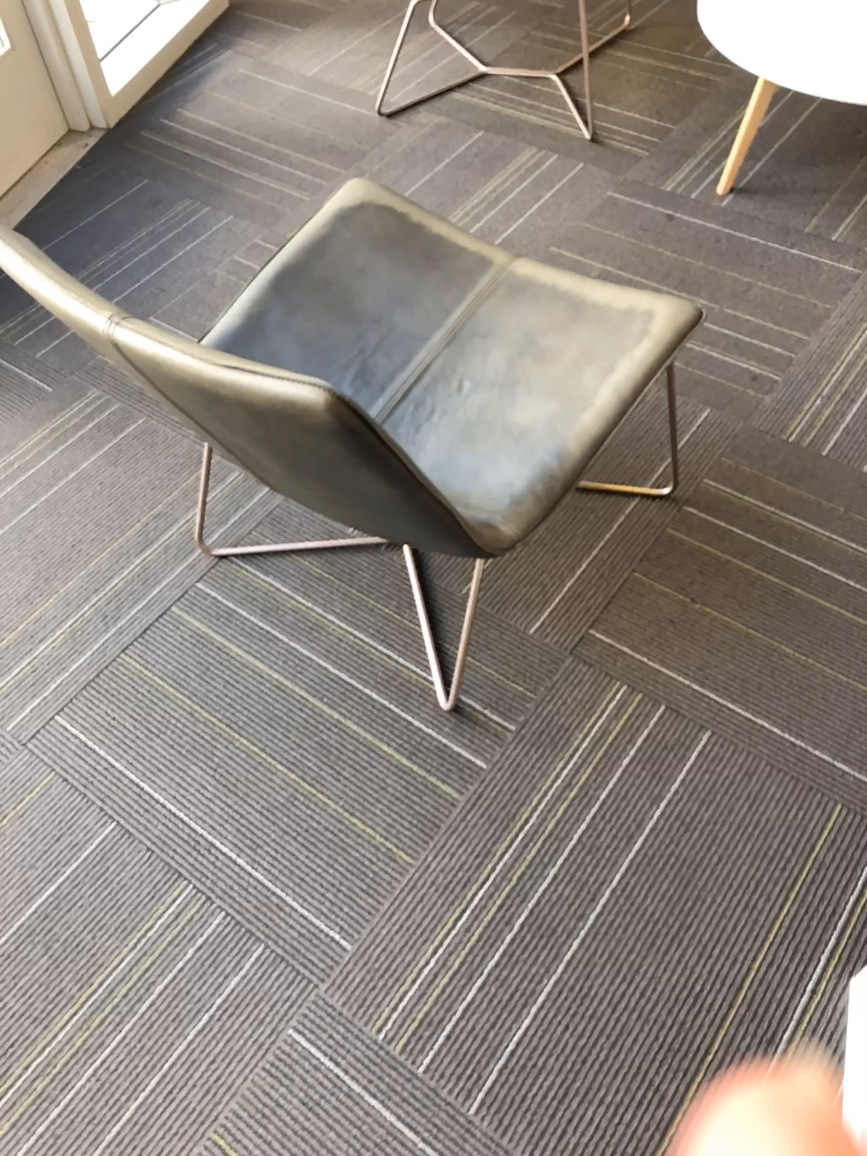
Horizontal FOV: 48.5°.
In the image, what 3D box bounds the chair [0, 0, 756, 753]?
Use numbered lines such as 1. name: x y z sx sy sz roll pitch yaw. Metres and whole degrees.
1. chair: -0.061 -0.344 1.401 0.672 0.877 0.651 30 67 25
